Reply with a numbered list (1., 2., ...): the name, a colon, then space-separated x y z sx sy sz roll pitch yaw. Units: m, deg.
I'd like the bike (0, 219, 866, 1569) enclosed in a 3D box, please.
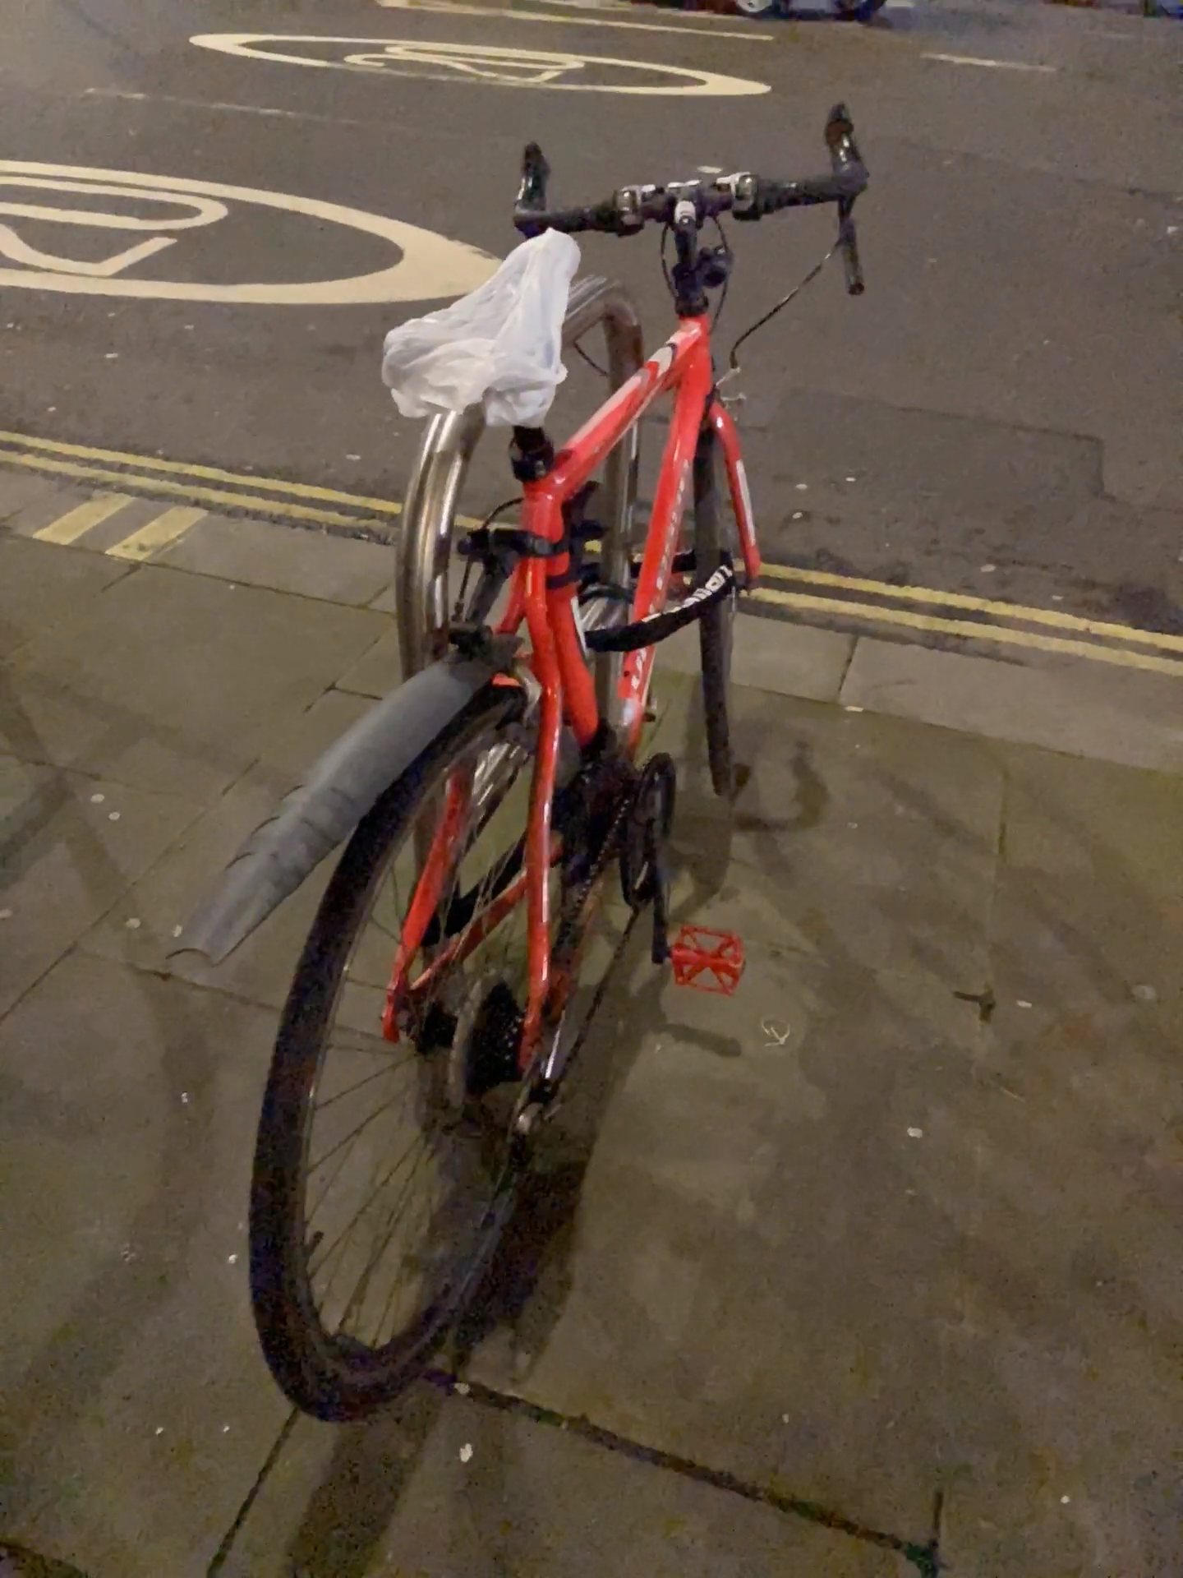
1. bike: -0.051 -0.124 1.585 0.537 0.809 1.670 11 37 12
